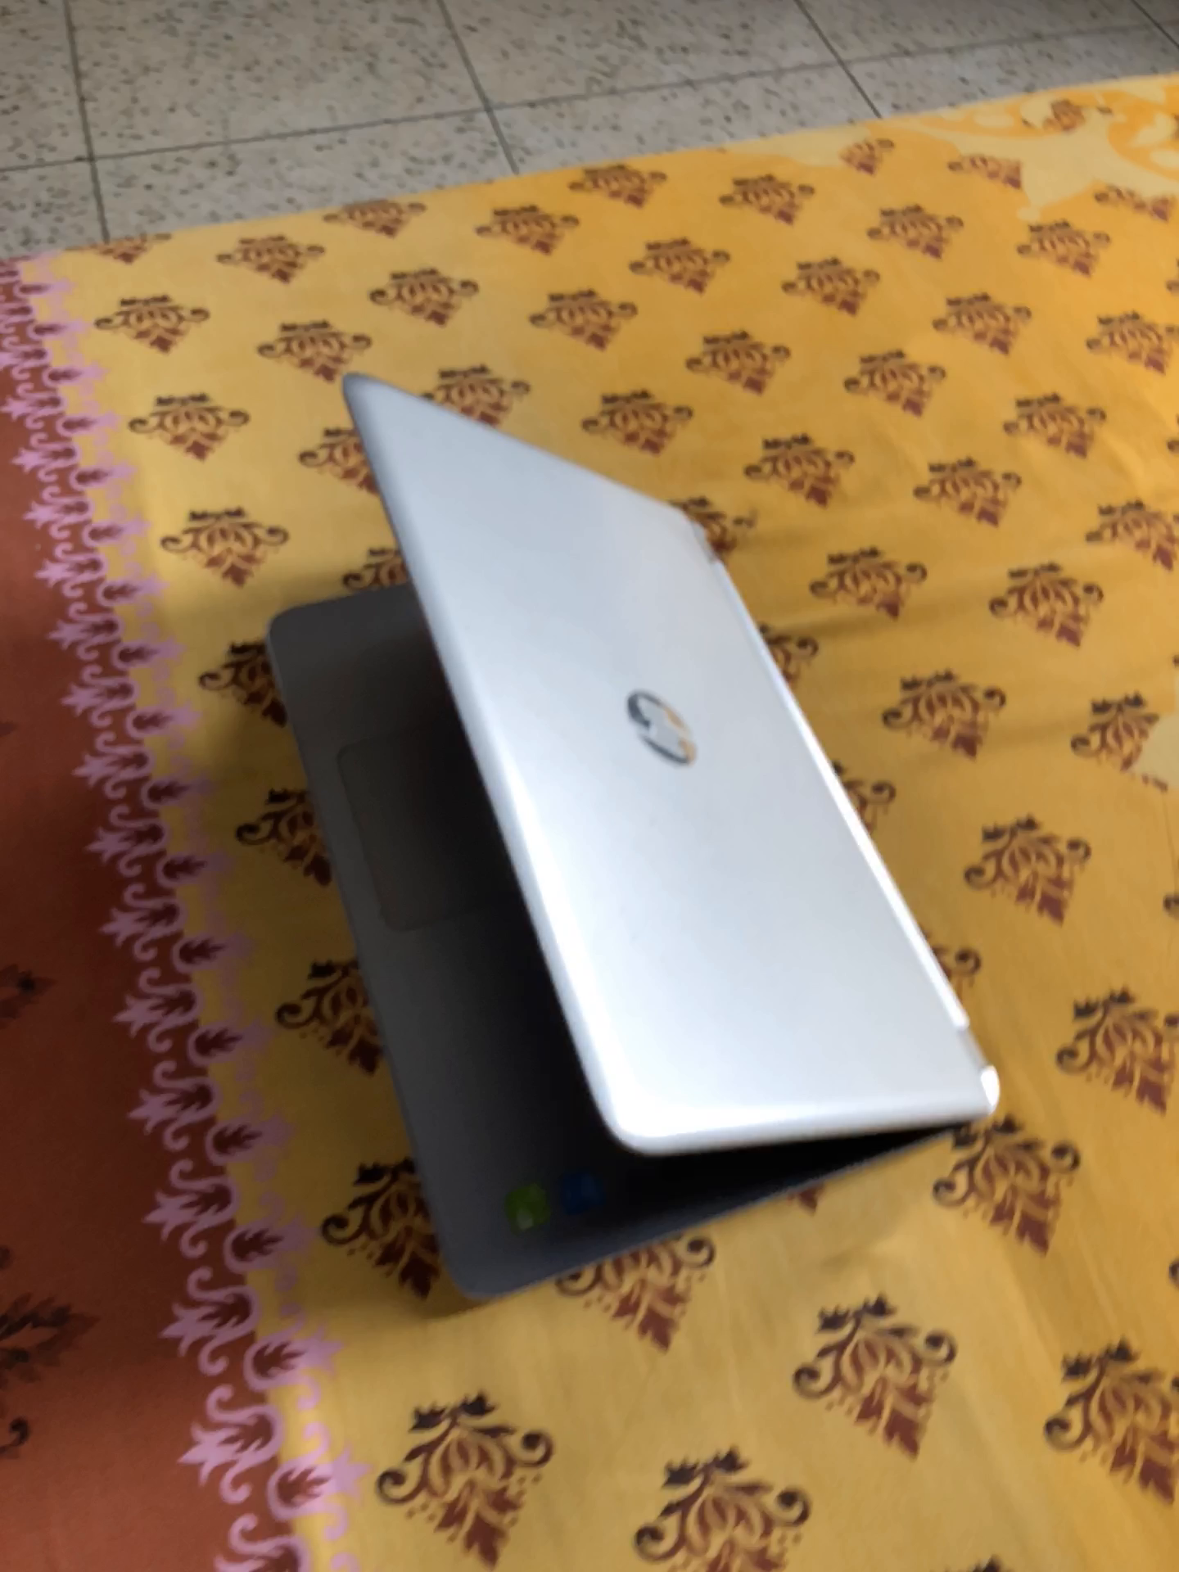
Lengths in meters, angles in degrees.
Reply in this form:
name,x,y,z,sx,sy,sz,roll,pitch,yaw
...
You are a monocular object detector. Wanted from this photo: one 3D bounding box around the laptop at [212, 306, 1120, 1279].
name,x,y,z,sx,sy,sz,roll,pitch,yaw
laptop,0.006,-0.017,0.599,0.249,0.155,0.373,-15,60,-13
